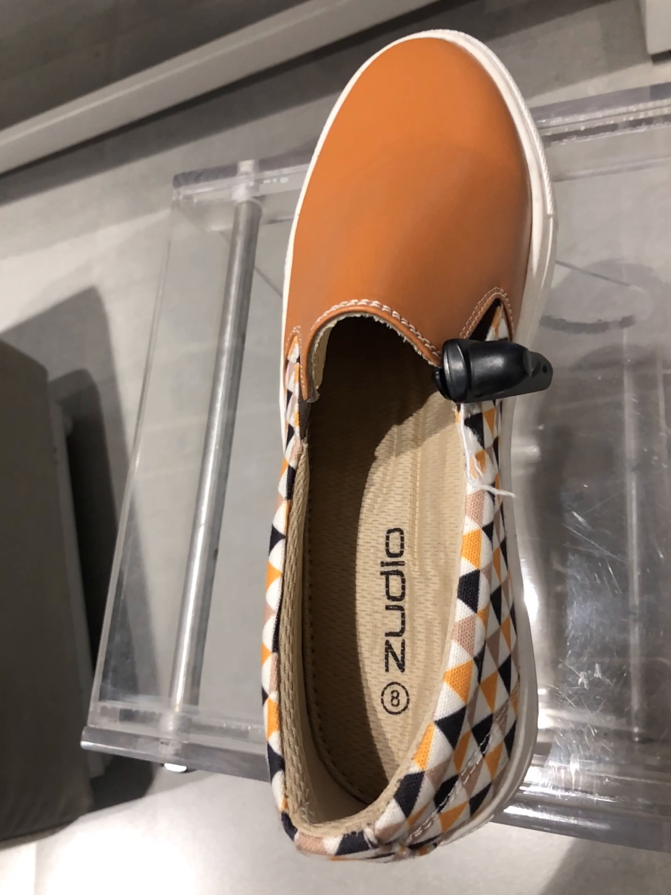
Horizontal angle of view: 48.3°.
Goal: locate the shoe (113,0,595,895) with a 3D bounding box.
[{"bbox_3d":[0.021,-0.020,0.255,0.110,0.100,0.290,-3,72,22],"label":"shoe"}]
